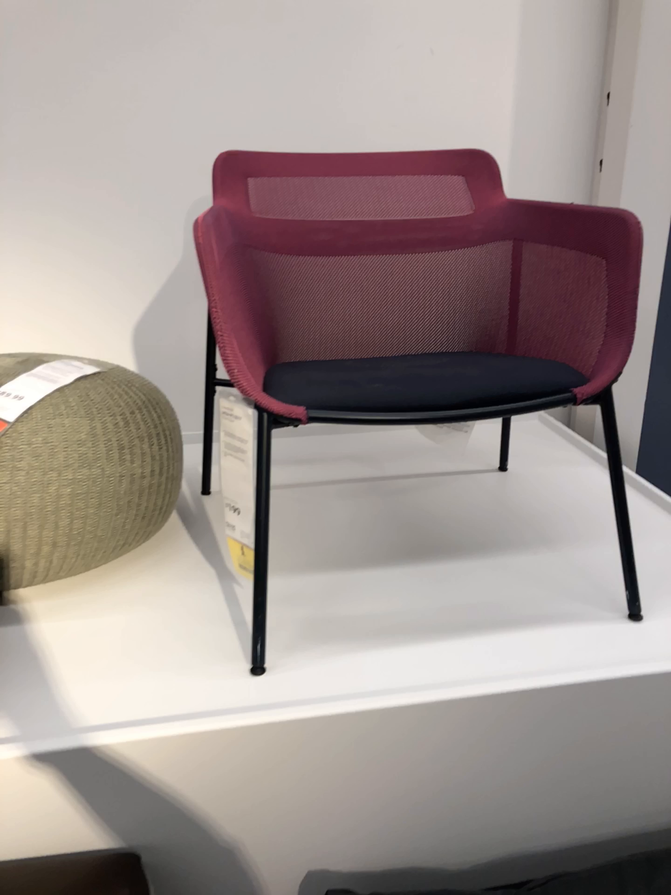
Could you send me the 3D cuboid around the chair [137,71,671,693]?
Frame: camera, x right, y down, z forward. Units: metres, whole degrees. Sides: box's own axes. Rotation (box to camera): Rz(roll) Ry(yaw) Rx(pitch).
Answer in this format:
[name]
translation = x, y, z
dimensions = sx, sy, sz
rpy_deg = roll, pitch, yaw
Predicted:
[chair]
translation = 0.078, -0.223, 1.402
dimensions = 0.780, 0.747, 1.013
rpy_deg = -5, 20, -11
